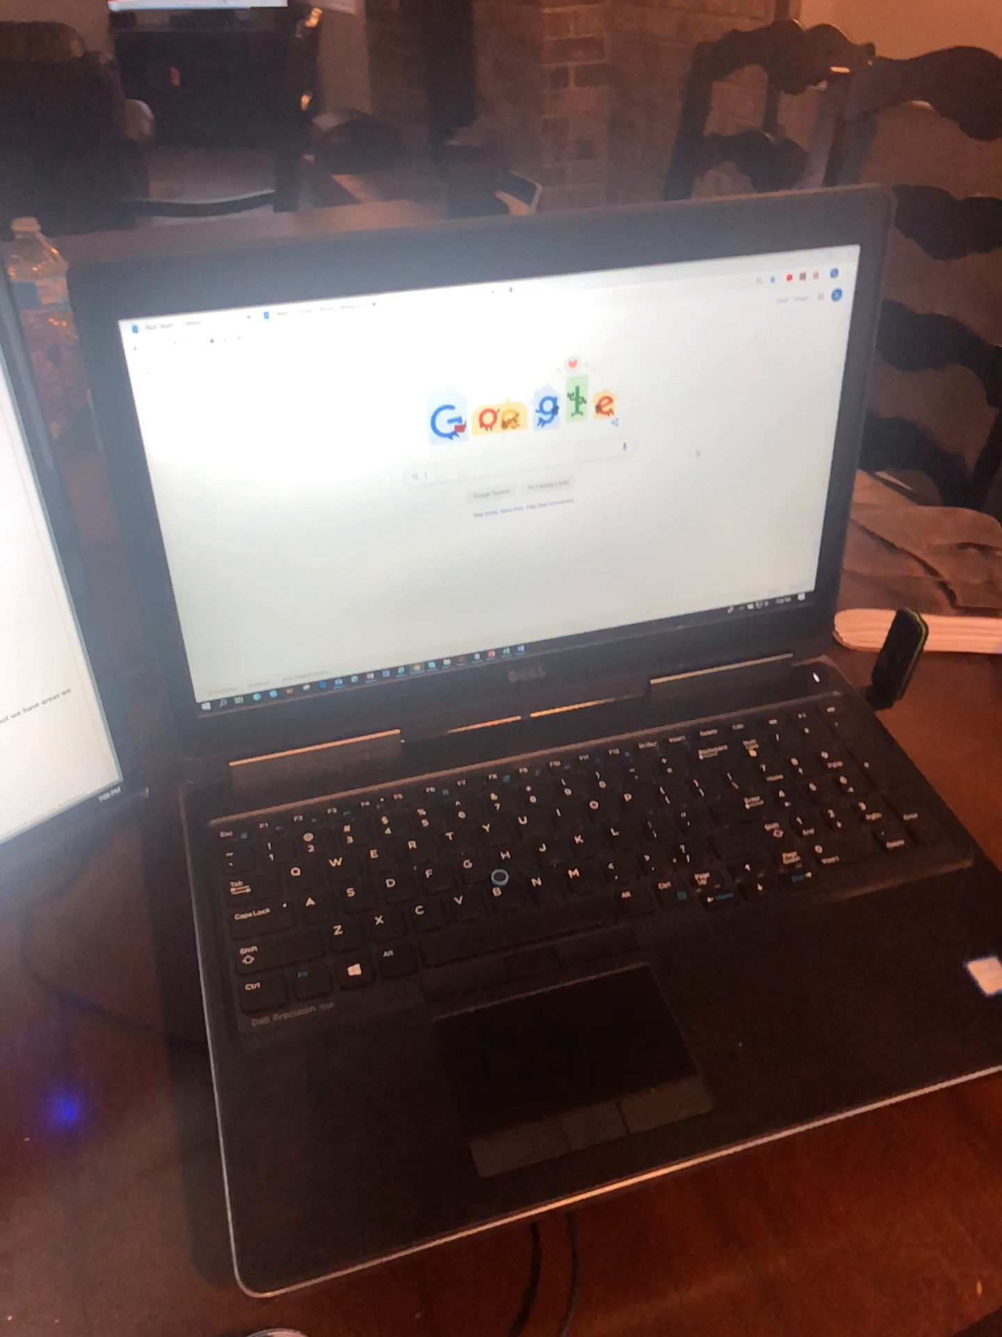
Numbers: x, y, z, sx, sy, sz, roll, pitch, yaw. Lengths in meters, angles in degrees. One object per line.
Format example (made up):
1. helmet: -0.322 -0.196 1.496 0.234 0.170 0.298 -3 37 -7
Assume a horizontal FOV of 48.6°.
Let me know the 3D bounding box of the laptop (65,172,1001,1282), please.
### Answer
1. laptop: 0.042 -0.016 0.461 0.367 0.258 0.287 -10 37 -14
